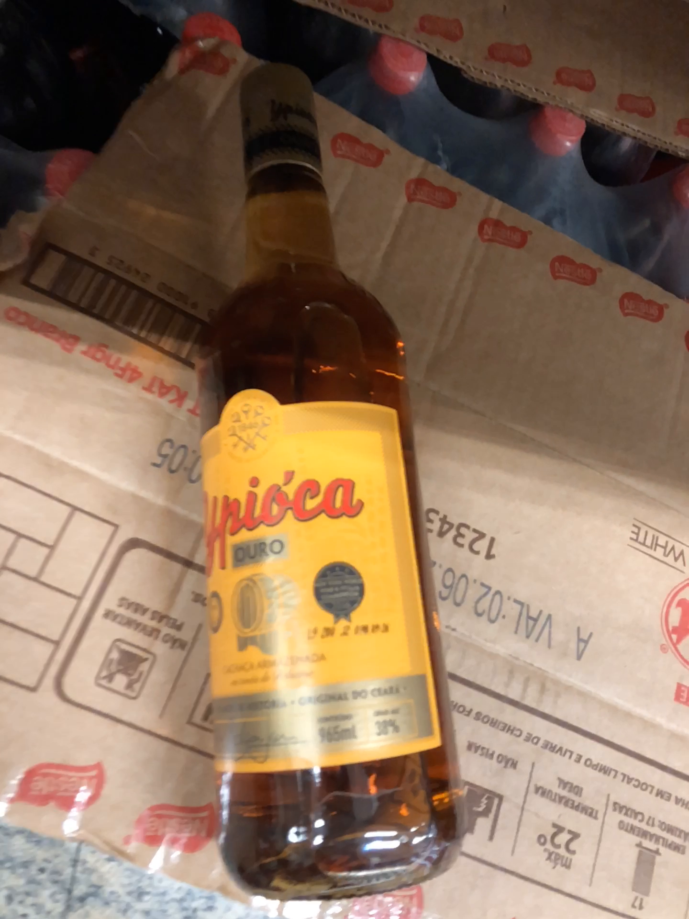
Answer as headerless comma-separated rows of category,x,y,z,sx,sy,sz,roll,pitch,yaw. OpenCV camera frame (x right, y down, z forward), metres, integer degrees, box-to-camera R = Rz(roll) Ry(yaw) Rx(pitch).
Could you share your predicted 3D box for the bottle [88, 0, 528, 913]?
bottle,-0.019,-0.032,0.267,0.090,0.080,0.310,14,64,-55
